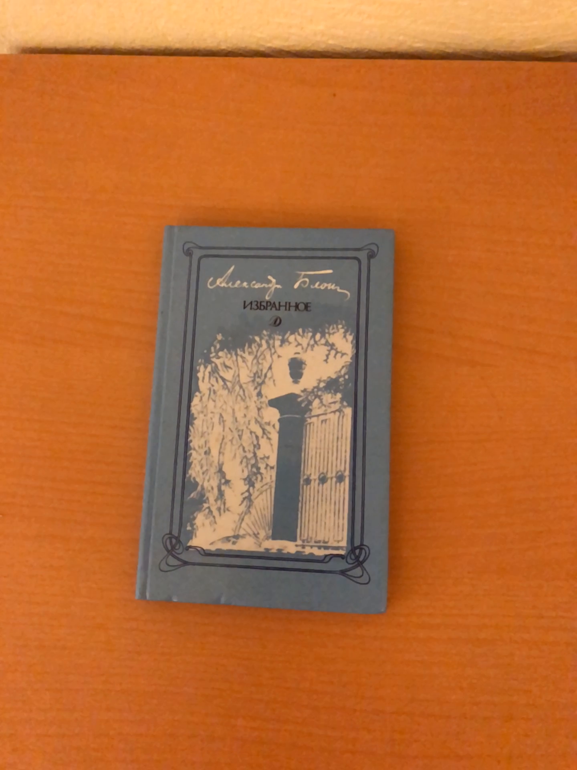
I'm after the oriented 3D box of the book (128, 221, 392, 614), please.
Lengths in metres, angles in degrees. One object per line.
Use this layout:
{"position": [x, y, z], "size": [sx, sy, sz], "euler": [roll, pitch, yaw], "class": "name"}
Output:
{"position": [-0.013, 0.013, 0.356], "size": [0.135, 0.020, 0.210], "euler": [2, 82, 4], "class": "book"}
